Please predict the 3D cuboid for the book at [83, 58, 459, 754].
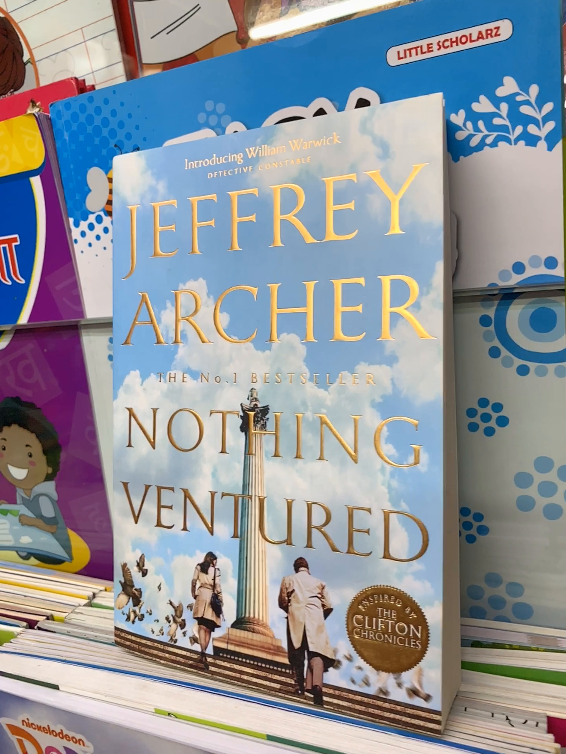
[{"bbox_3d":[-0.010,0.007,0.205,0.130,0.190,0.030,-1,-1,27],"label":"book"}]
